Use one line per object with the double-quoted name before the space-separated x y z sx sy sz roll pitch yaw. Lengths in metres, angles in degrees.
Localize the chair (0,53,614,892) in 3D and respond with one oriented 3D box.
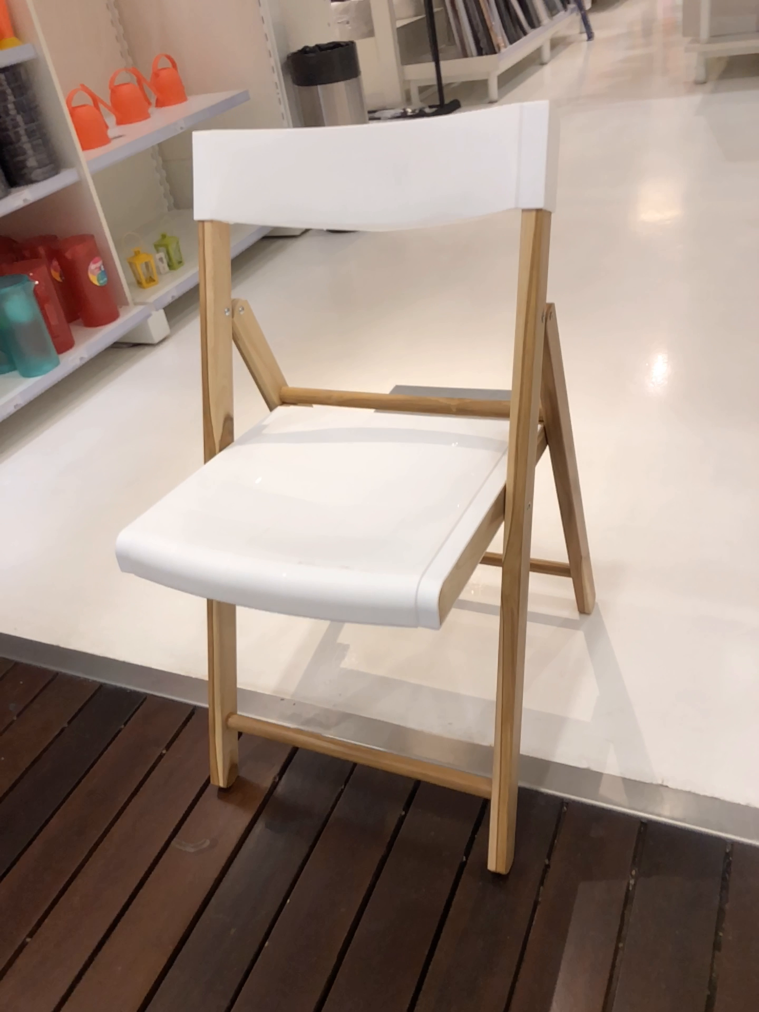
"chair" -0.023 -0.043 0.991 0.471 0.734 0.513 7 41 26
